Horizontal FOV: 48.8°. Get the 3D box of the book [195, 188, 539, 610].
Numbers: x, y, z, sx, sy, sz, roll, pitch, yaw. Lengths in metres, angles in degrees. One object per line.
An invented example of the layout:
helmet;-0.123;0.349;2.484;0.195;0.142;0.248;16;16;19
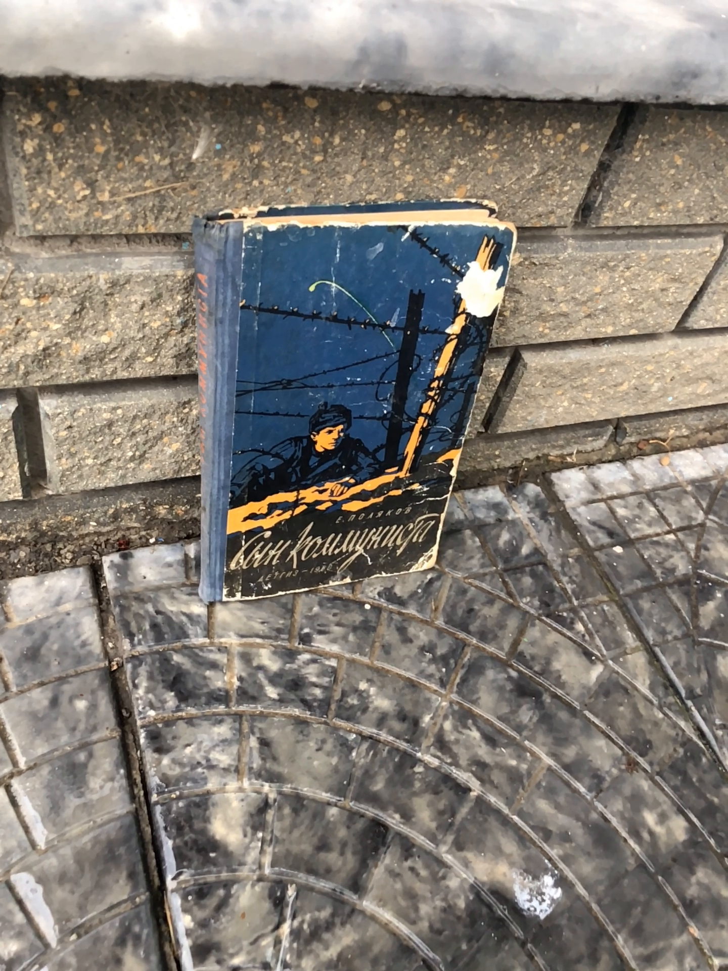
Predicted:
book;-0.009;-0.037;0.394;0.140;0.199;0.040;-7;38;-21
